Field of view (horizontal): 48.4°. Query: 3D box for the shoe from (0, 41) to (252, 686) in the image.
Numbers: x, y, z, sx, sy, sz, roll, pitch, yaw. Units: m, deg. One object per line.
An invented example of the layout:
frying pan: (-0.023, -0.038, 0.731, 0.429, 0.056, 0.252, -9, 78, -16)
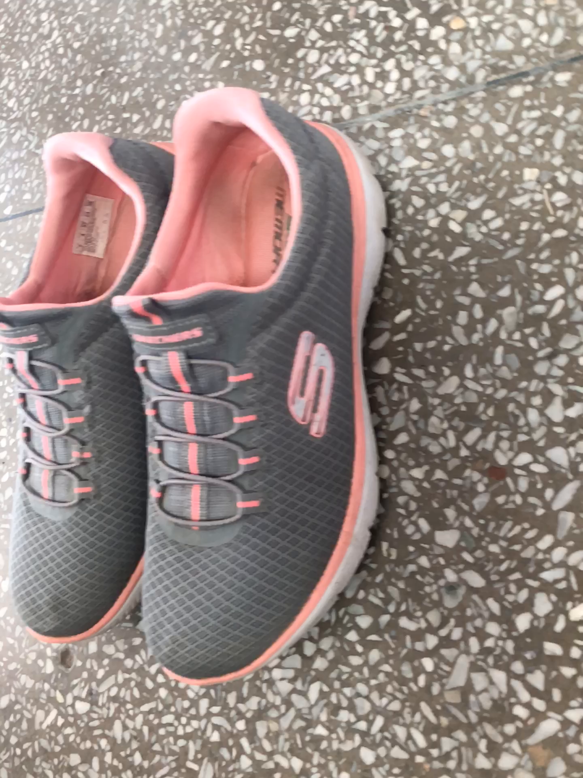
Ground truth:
shoe: (-0.106, -0.012, 0.308, 0.097, 0.094, 0.252, 4, 78, 29)

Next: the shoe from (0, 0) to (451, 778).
shoe: (-0.014, -0.006, 0.264, 0.102, 0.108, 0.246, 4, 78, 29)
